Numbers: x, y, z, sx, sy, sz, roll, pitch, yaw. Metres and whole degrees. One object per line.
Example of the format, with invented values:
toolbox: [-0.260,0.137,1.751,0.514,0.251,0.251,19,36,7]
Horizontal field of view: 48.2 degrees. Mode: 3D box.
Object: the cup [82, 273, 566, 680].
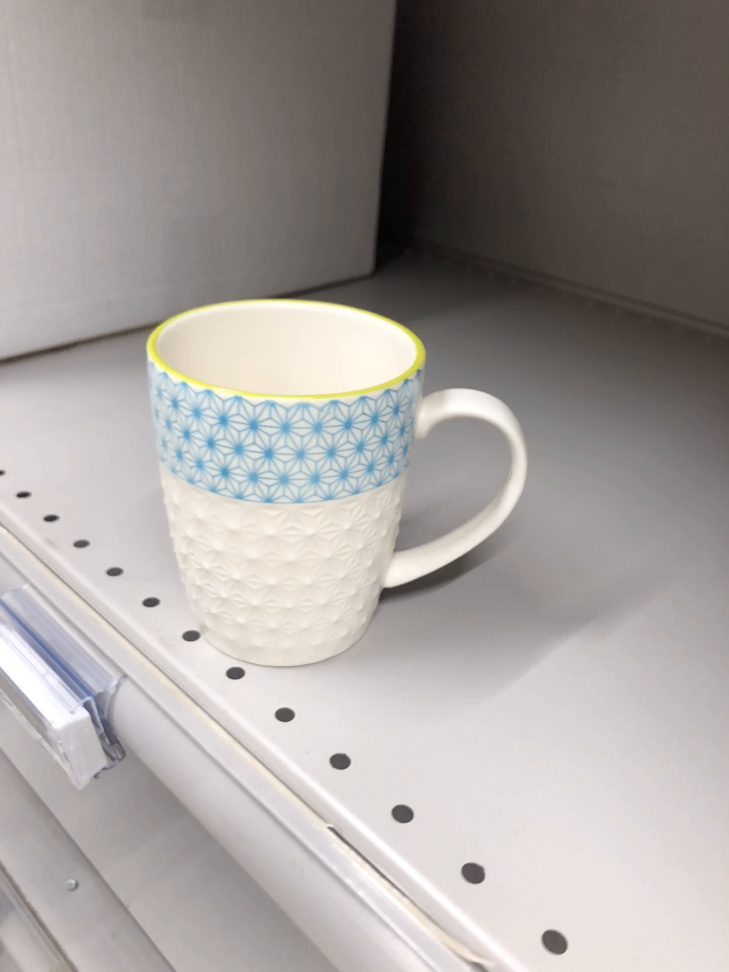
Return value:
cup: [-0.015,-0.008,0.264,0.118,0.091,0.098,0,30,-6]
